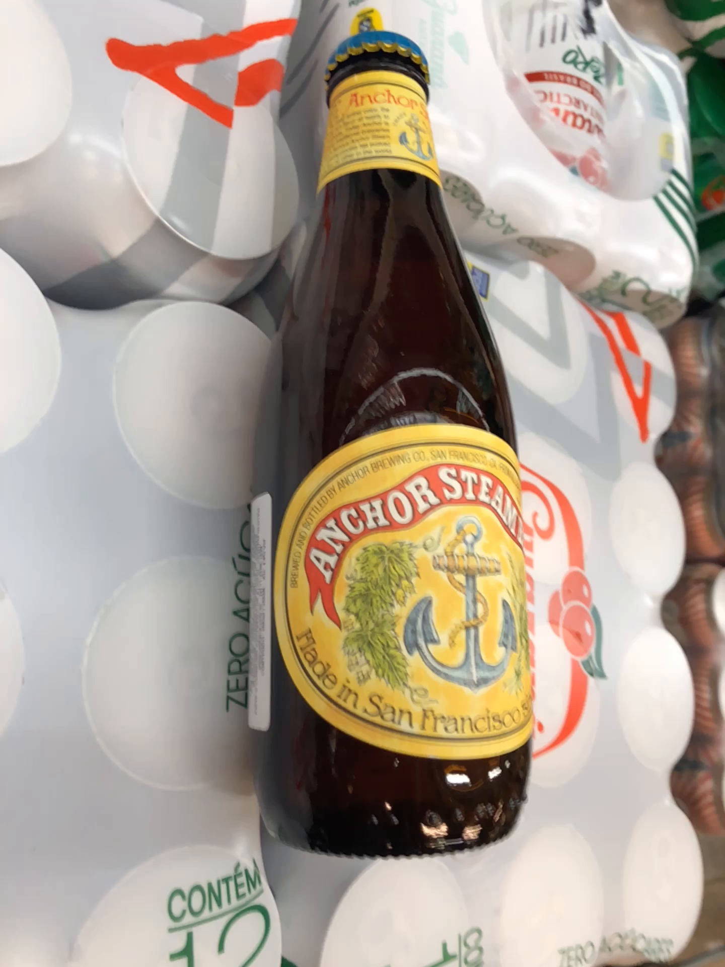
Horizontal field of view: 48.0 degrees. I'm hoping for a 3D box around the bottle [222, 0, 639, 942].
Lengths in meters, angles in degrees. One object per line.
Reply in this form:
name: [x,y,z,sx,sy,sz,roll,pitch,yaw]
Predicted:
bottle: [0.014,-0.026,0.197,0.070,0.060,0.220,7,78,-39]
